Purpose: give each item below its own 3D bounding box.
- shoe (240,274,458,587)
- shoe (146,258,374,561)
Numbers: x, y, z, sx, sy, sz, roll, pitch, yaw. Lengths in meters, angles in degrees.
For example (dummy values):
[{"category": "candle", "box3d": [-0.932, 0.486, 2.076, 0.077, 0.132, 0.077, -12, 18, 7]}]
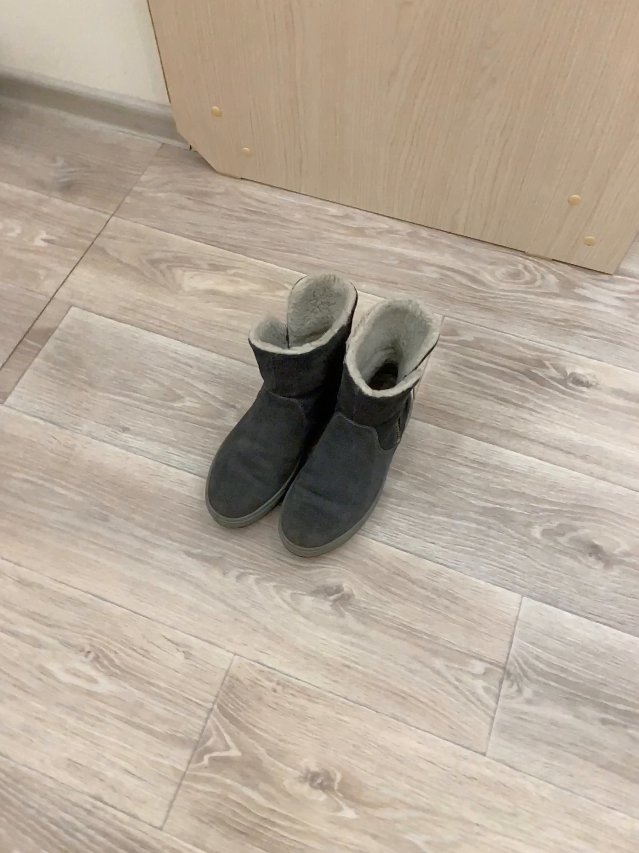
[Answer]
[{"category": "shoe", "box3d": [0.036, 0.006, 0.697, 0.100, 0.170, 0.270, 24, 65, 12]}, {"category": "shoe", "box3d": [-0.051, -0.016, 0.728, 0.100, 0.180, 0.270, 26, 65, 13]}]
